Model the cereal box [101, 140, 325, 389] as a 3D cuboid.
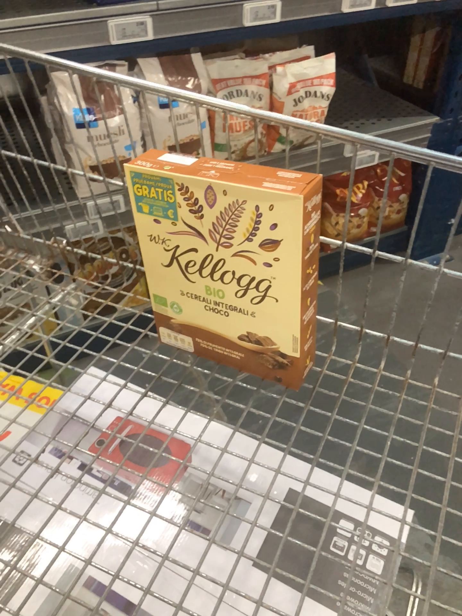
[{"bbox_3d":[-0.014,-0.044,0.527,0.200,0.219,0.060,15,41,25],"label":"cereal box"}]
